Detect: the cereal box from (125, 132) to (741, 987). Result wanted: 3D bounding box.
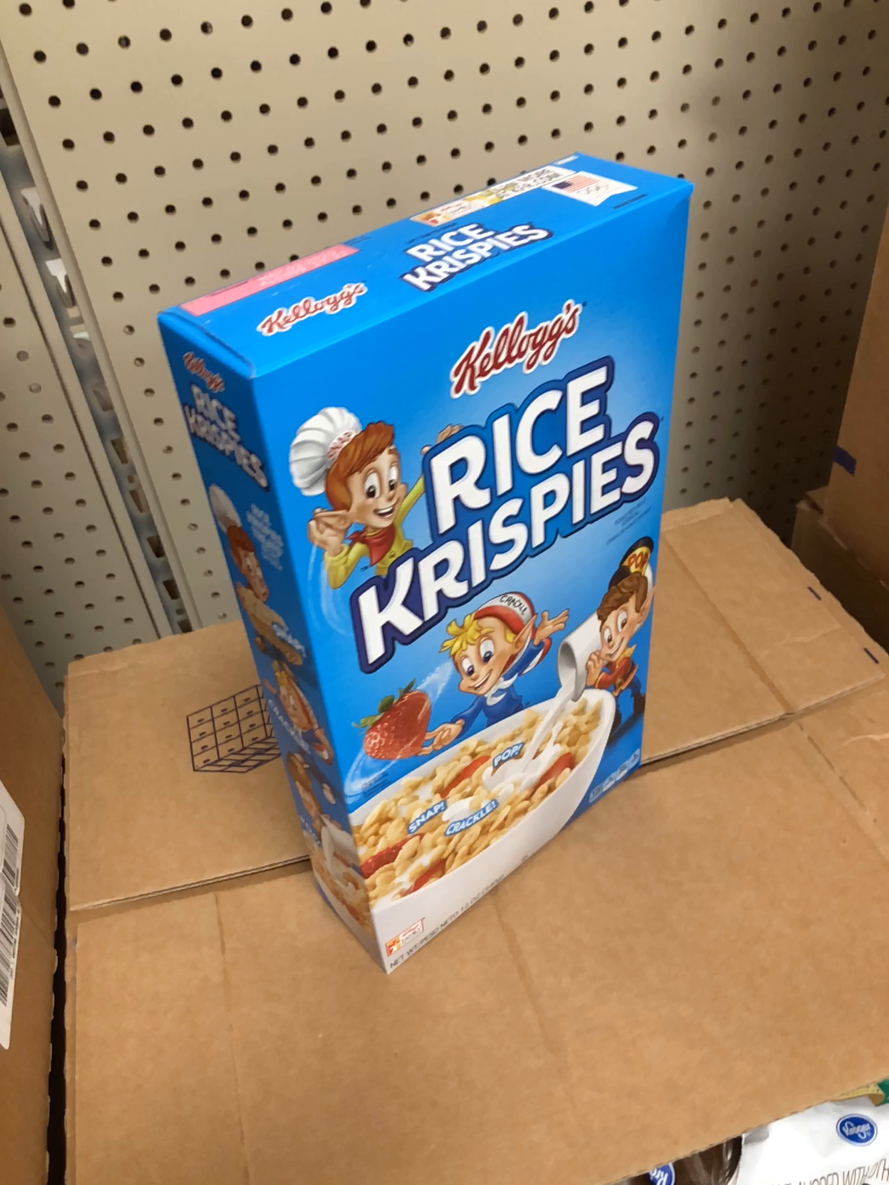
[{"bbox_3d":[0.015,0.004,0.438,0.210,0.329,0.070,-32,48,-27],"label":"cereal box"}]
